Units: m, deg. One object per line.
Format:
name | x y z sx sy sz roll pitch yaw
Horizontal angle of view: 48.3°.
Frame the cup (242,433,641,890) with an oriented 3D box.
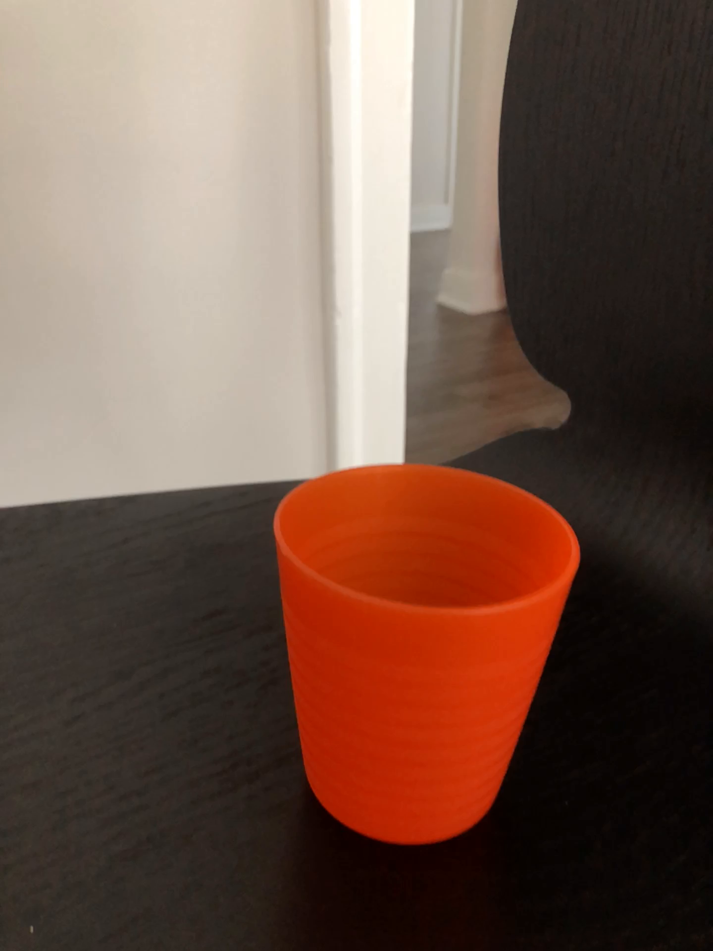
cup | 0.015 0.045 0.222 0.080 0.080 0.080 0 27 0
